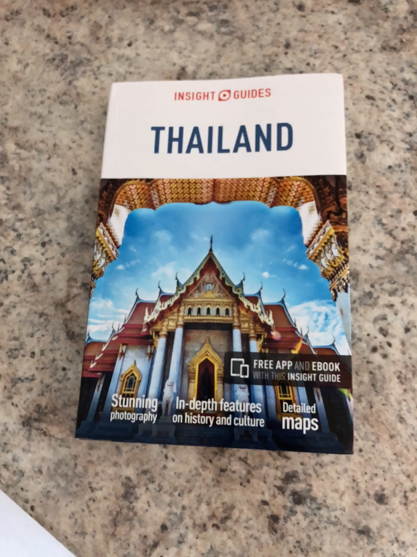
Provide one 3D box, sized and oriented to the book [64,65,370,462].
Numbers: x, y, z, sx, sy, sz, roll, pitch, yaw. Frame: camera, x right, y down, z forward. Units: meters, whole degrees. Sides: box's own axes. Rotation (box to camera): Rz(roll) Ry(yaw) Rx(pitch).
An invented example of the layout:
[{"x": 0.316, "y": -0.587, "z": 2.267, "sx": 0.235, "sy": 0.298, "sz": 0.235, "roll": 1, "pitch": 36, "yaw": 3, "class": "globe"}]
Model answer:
[{"x": 0.009, "y": -0.020, "z": 0.295, "sx": 0.164, "sy": 0.030, "sz": 0.240, "roll": 1, "pitch": 74, "yaw": 7, "class": "book"}]
